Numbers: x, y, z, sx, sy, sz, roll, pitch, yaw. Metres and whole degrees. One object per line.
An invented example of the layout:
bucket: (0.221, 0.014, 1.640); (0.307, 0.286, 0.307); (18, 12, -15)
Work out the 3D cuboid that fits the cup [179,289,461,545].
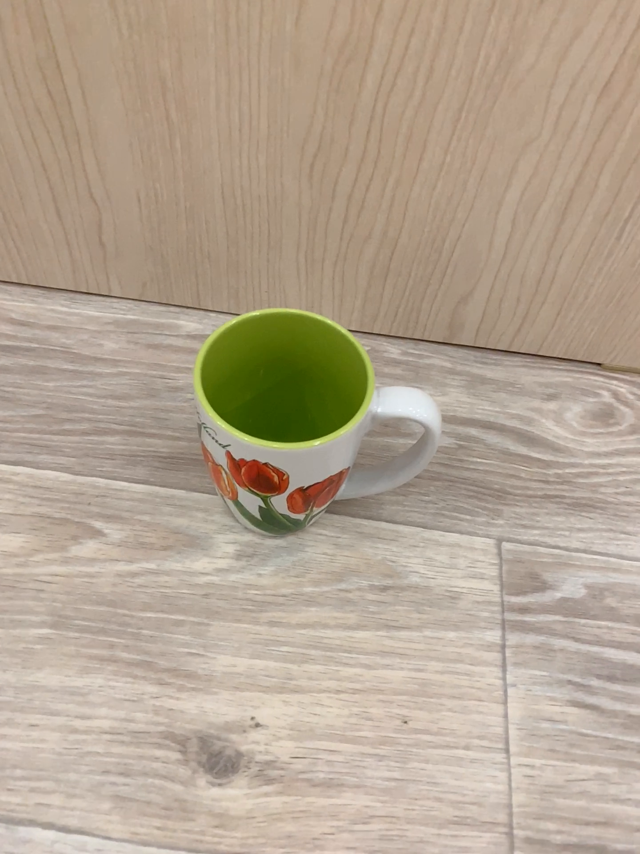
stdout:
cup: (-0.004, -0.001, 0.341); (0.118, 0.101, 0.084); (2, 54, -5)
